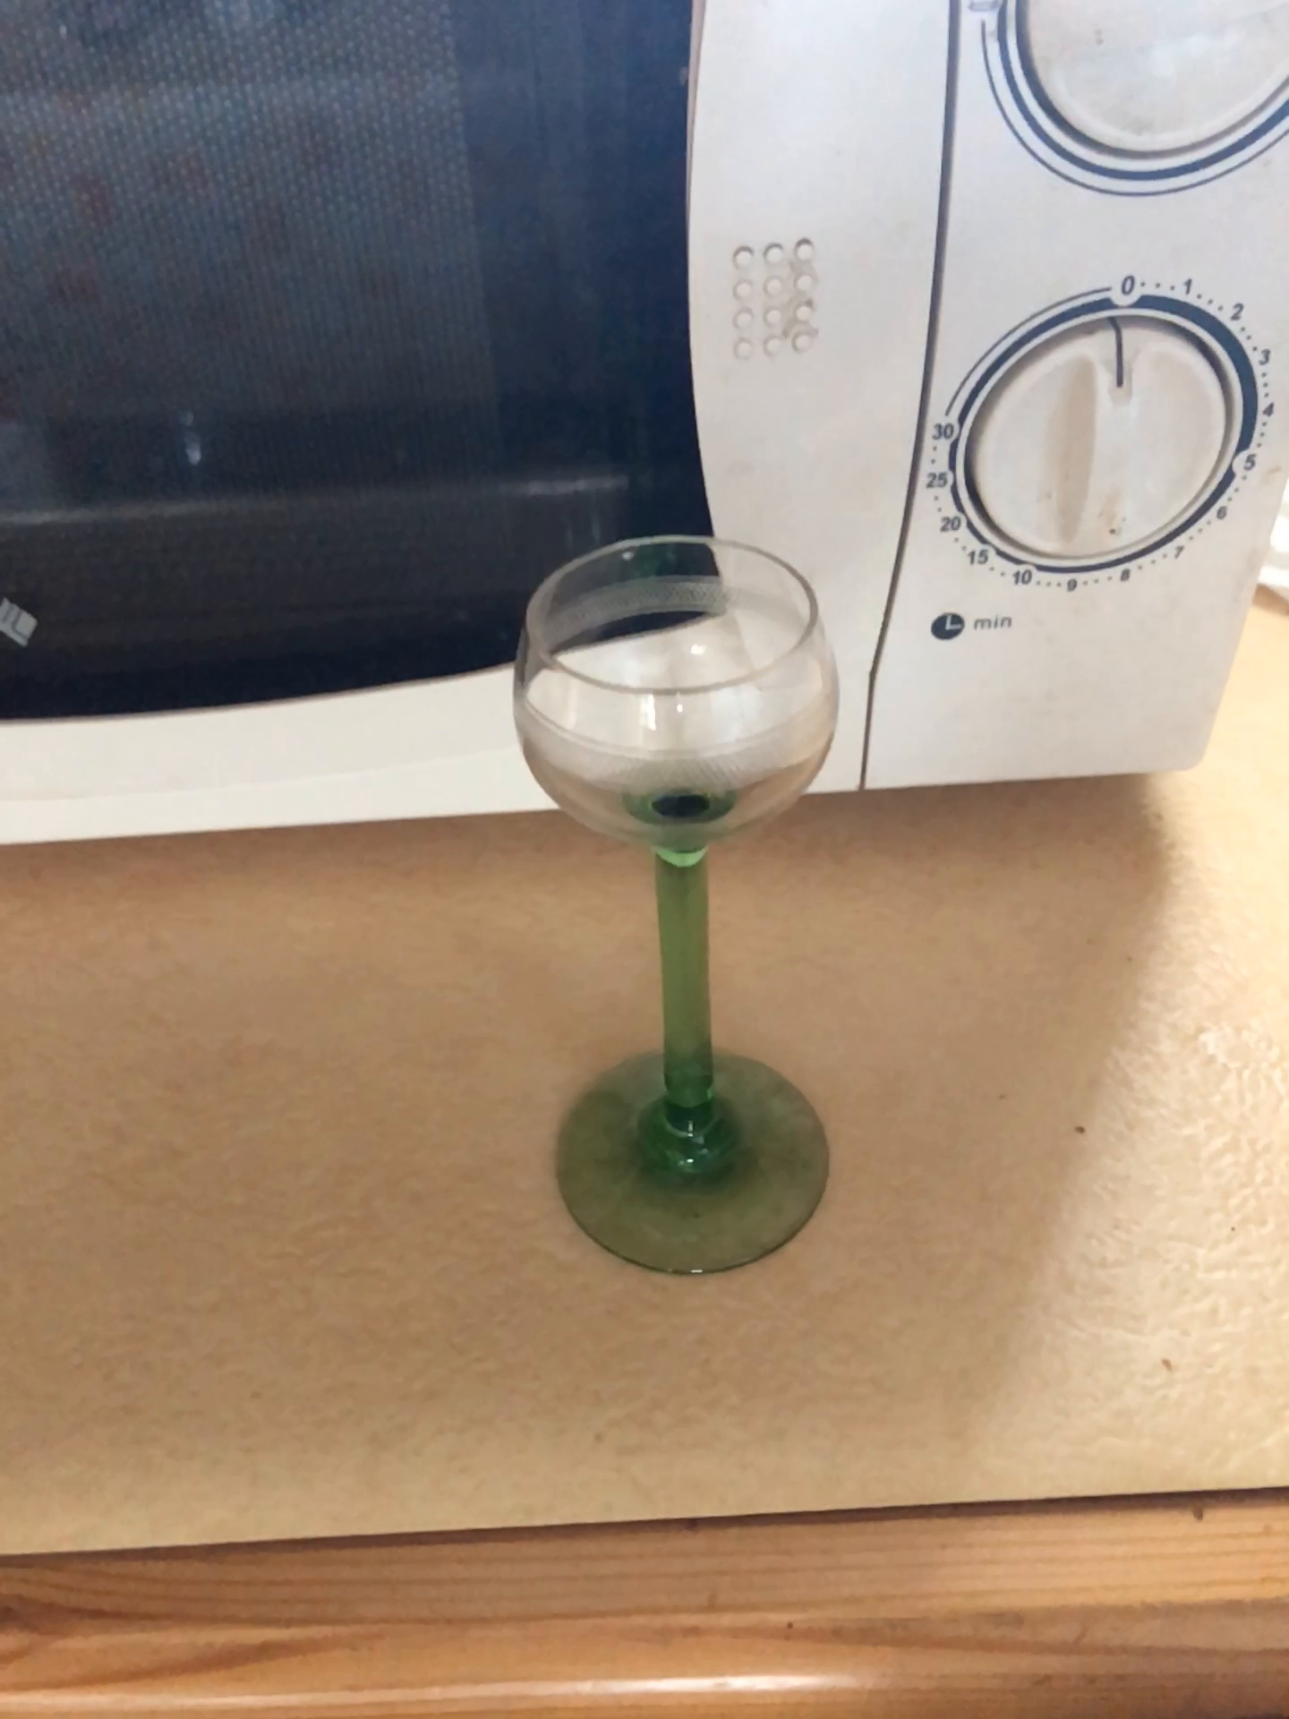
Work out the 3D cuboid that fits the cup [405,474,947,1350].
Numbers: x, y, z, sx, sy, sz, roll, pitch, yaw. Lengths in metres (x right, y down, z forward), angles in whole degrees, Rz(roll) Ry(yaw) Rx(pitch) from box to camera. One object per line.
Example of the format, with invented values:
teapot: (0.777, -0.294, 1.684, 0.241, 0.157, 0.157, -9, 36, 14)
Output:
cup: (0.004, 0.014, 0.238, 0.060, 0.129, 0.060, -2, 42, 1)
